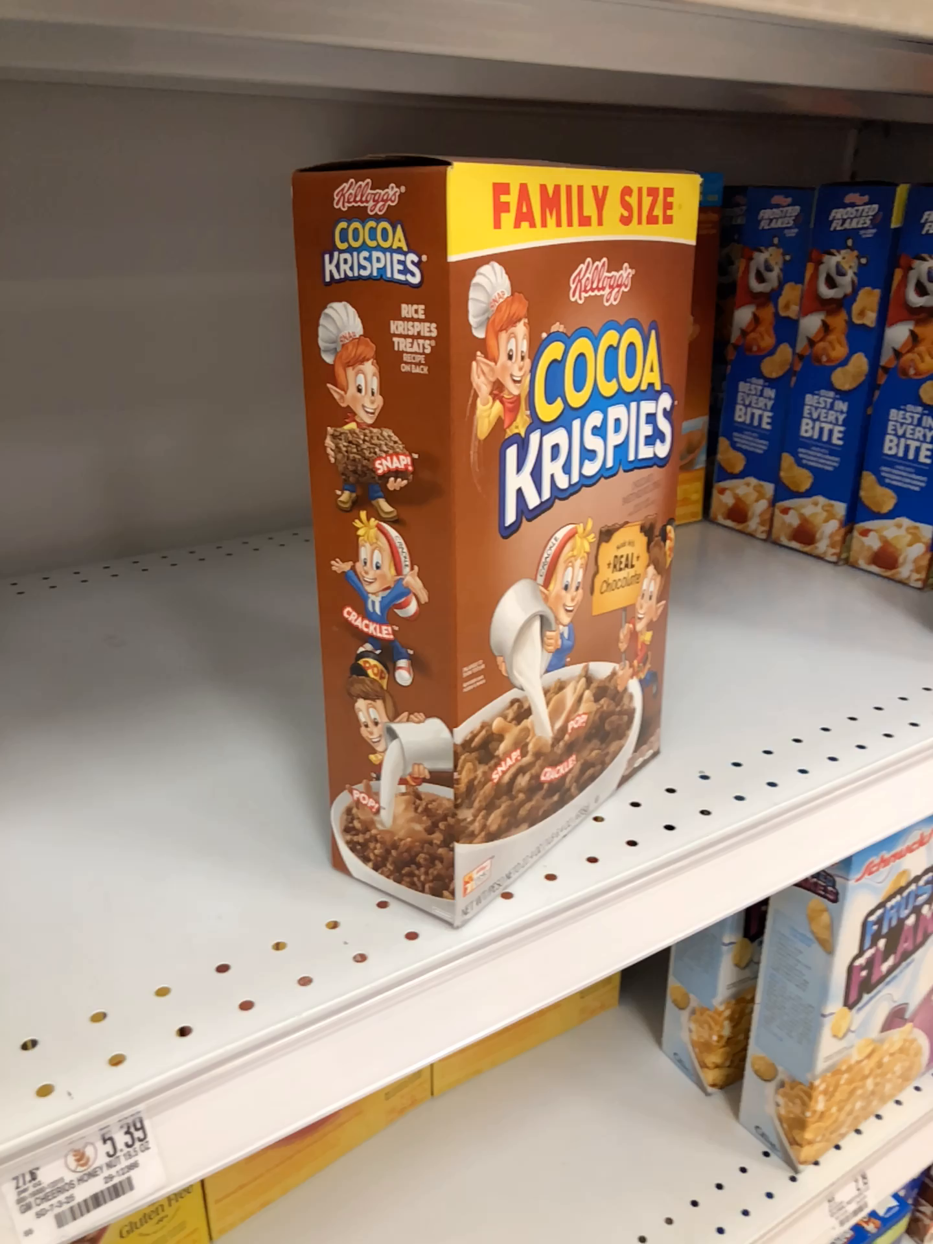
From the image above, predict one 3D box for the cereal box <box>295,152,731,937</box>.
[{"bbox_3d":[0.029,-0.046,0.465,0.070,0.299,0.200,17,29,33],"label":"cereal box"}]
